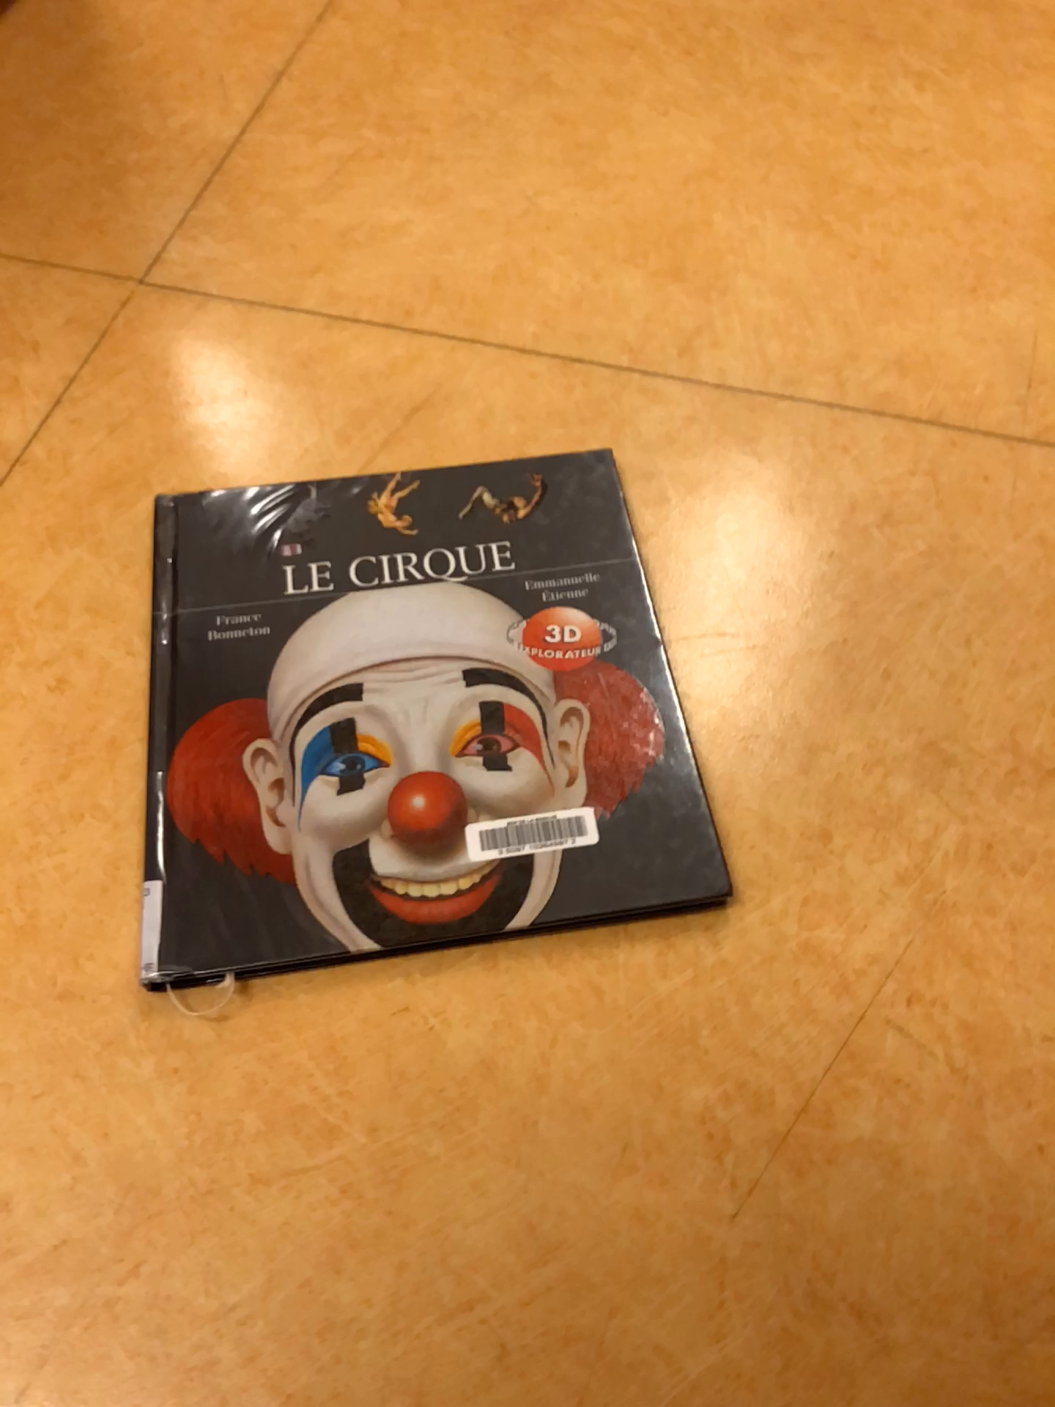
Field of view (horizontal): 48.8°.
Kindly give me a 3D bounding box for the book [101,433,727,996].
[{"bbox_3d":[-0.054,-0.012,0.467,0.214,0.012,0.234,-7,56,-6],"label":"book"}]
